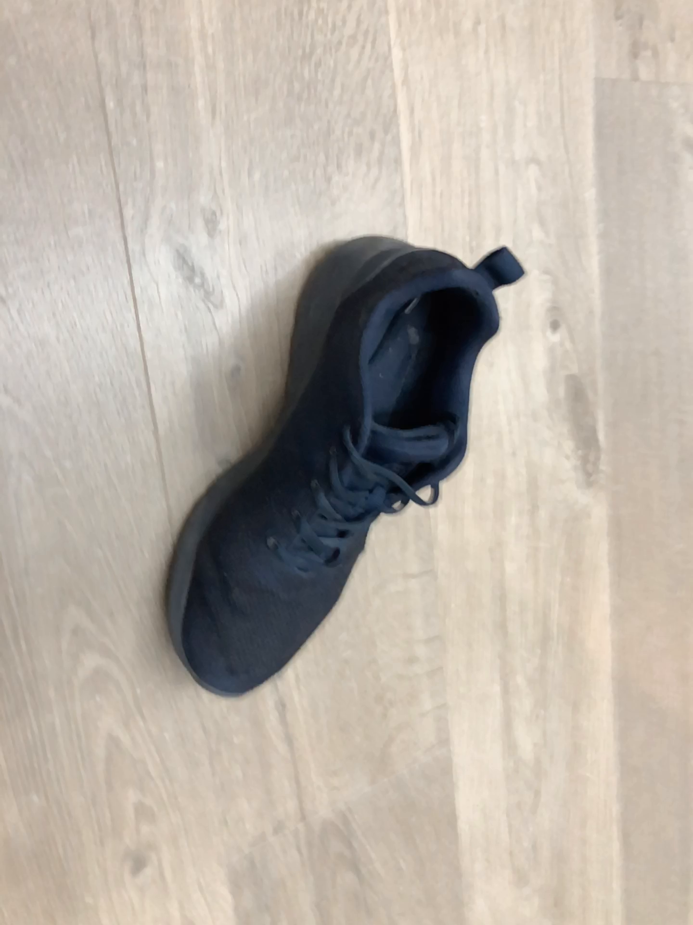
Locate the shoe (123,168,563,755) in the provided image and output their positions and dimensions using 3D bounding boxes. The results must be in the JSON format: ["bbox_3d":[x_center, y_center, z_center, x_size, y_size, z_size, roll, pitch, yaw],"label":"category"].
[{"bbox_3d":[-0.002,-0.004,0.440,0.100,0.110,0.290,30,81,-33],"label":"shoe"}]
